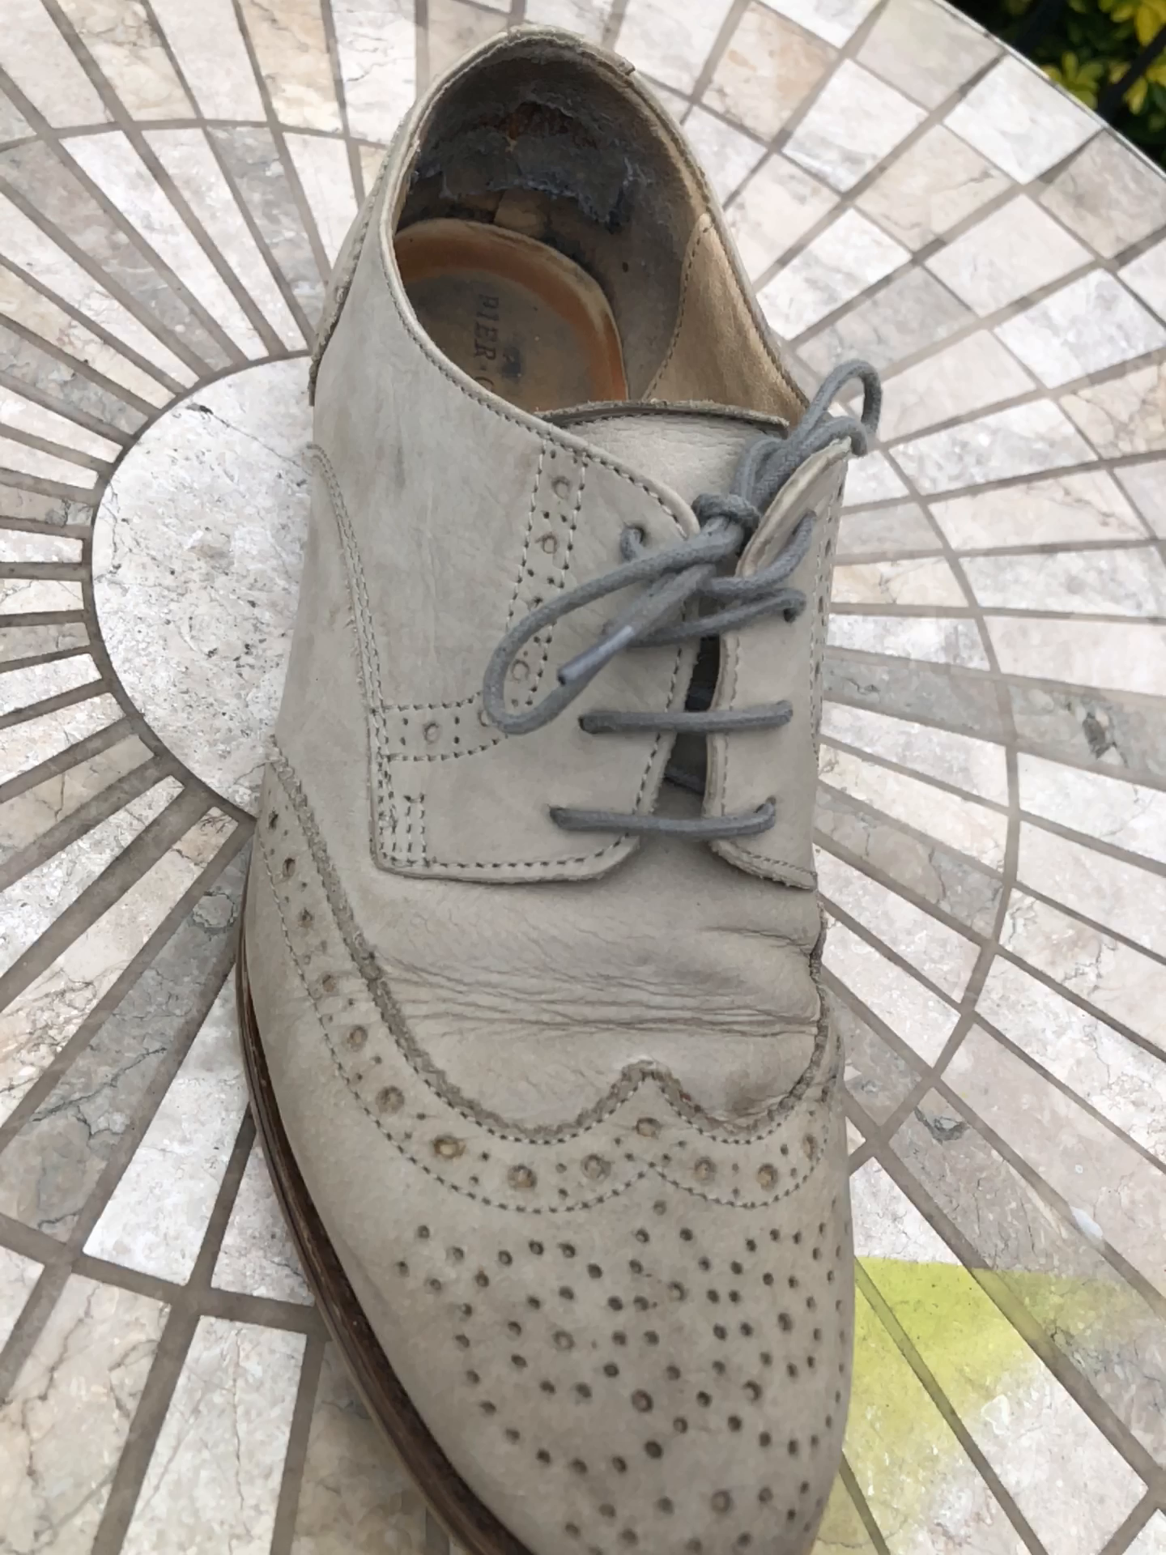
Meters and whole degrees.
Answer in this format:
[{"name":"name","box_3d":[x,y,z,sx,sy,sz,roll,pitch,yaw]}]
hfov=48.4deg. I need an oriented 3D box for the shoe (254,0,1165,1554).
[{"name":"shoe","box_3d":[-0.001,-0.011,0.211,0.090,0.078,0.257,3,62,-21]}]
